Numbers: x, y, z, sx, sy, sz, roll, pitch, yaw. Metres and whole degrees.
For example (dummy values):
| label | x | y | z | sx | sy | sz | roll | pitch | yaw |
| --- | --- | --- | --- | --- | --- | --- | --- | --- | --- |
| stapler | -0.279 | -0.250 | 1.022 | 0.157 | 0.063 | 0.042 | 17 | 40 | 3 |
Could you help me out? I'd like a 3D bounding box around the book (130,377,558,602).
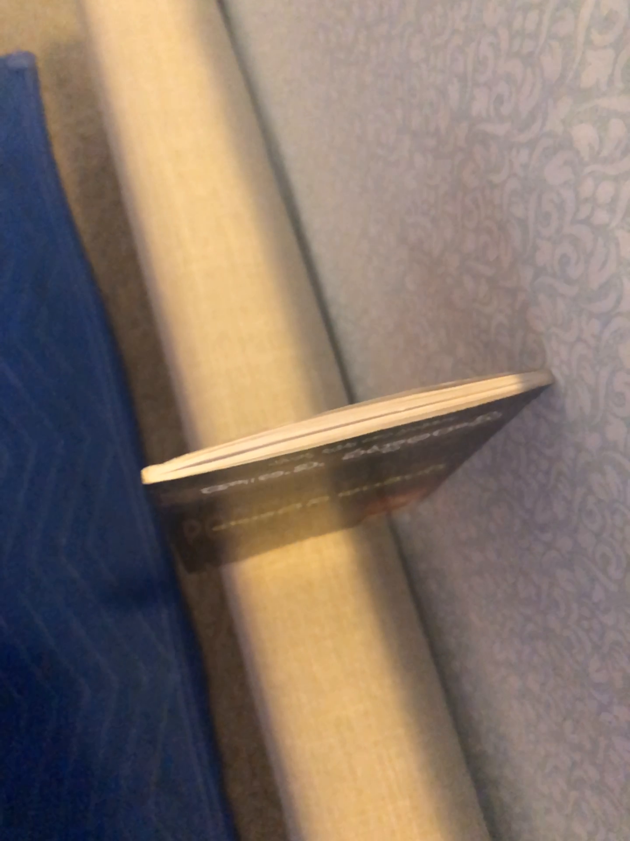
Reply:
| label | x | y | z | sx | sy | sz | roll | pitch | yaw |
| --- | --- | --- | --- | --- | --- | --- | --- | --- | --- |
| book | 0.001 | 0.038 | 0.284 | 0.127 | 0.175 | 0.011 | -15 | 73 | -13 |
